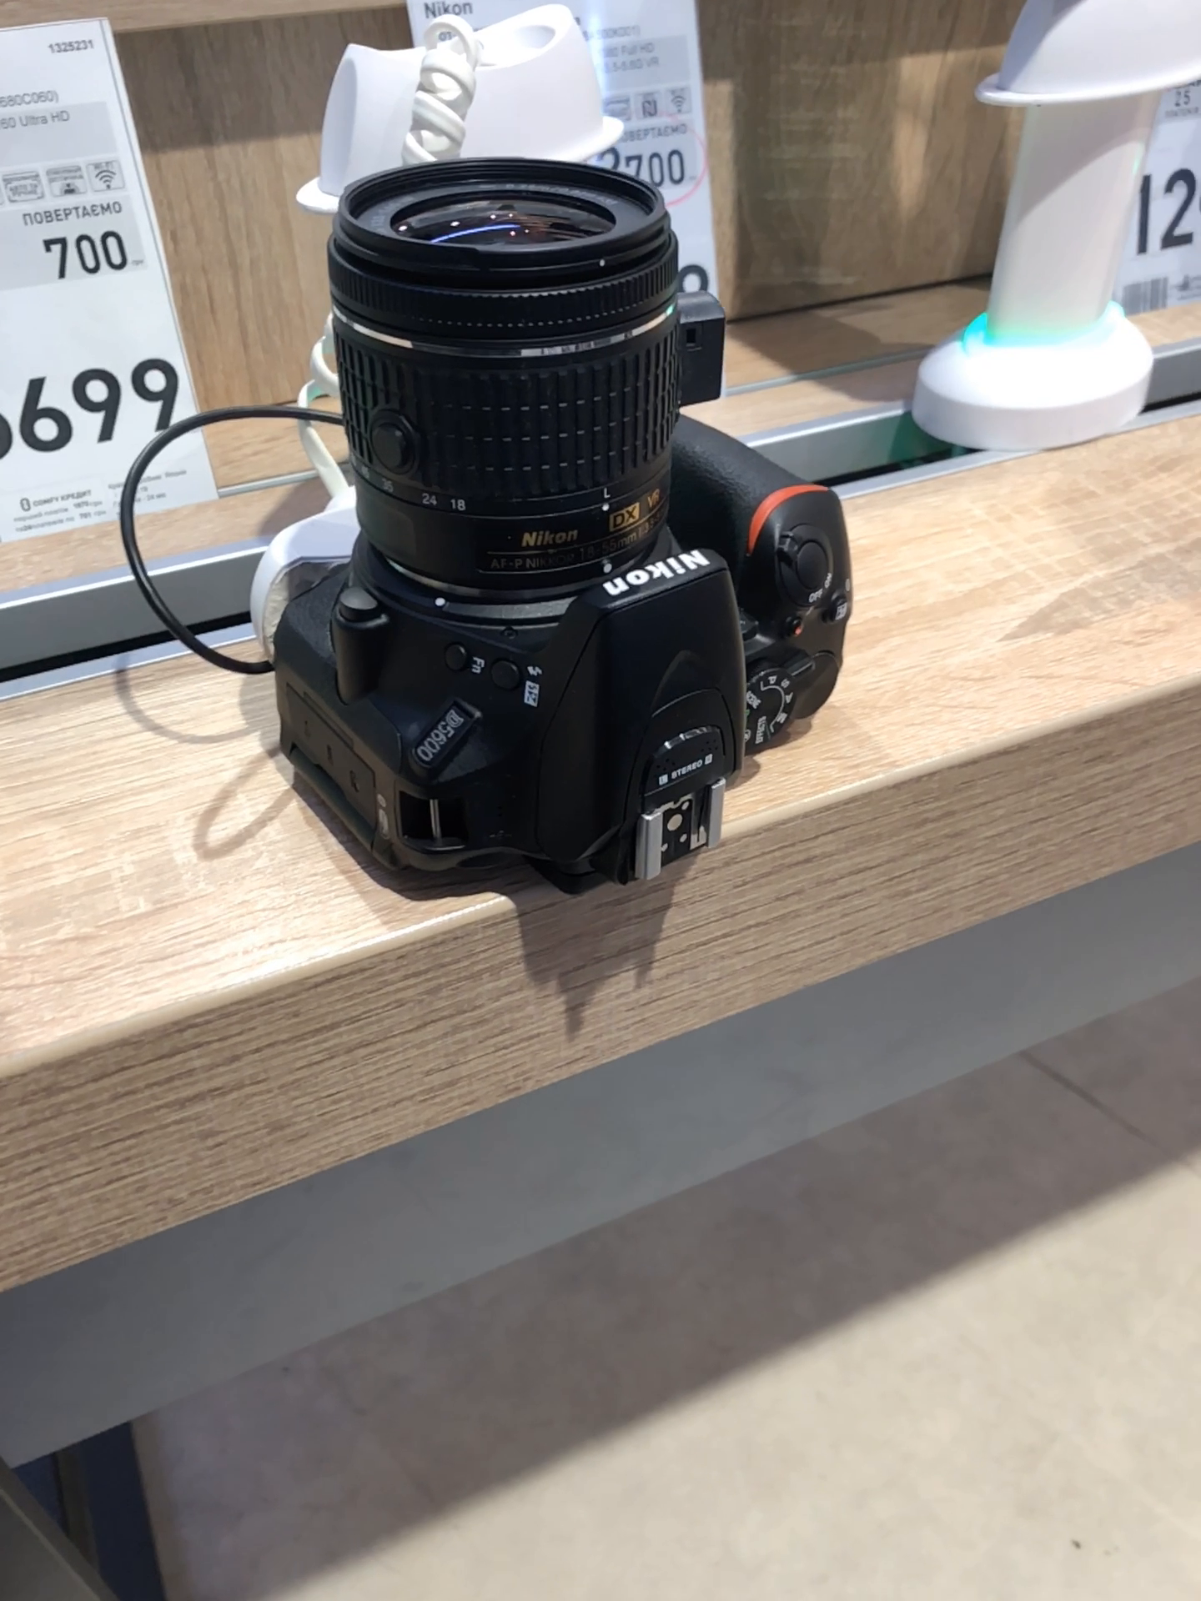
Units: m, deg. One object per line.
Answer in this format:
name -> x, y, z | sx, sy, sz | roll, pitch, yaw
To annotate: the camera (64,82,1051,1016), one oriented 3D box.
camera -> -0.008, -0.061, 0.273 | 0.132, 0.117, 0.115 | -28, 48, -28
